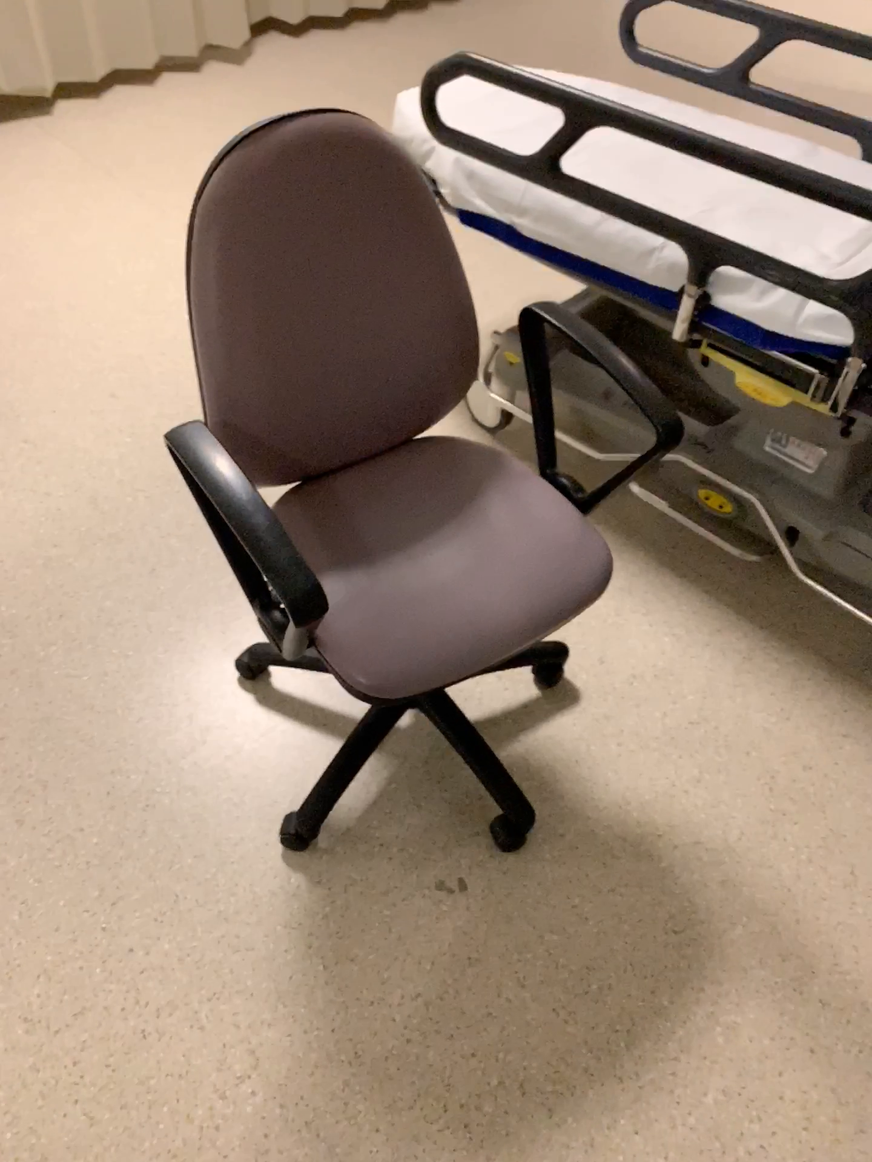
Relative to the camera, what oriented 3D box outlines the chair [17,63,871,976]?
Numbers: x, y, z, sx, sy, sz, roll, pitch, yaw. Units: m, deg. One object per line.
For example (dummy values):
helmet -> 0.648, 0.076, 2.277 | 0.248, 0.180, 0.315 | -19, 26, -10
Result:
chair -> -0.031, -0.084, 1.261 | 0.652, 0.882, 0.715 | -23, 54, -23
